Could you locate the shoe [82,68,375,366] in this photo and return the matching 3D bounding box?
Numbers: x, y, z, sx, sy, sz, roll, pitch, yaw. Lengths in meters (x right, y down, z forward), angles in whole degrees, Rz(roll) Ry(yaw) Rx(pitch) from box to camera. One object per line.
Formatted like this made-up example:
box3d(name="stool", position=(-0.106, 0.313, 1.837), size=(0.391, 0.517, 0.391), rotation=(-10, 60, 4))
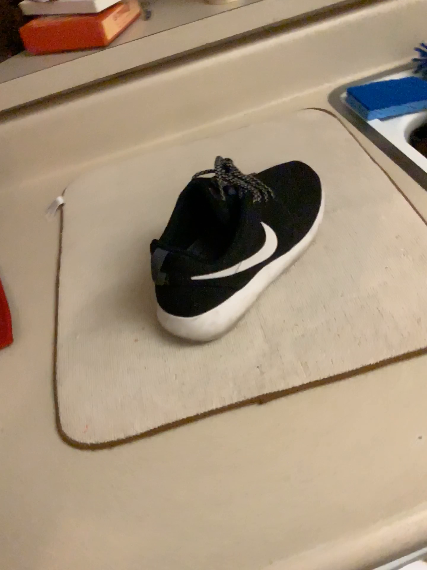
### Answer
box3d(name="shoe", position=(0.035, -0.085, 0.470), size=(0.130, 0.120, 0.280), rotation=(23, 57, 30))
